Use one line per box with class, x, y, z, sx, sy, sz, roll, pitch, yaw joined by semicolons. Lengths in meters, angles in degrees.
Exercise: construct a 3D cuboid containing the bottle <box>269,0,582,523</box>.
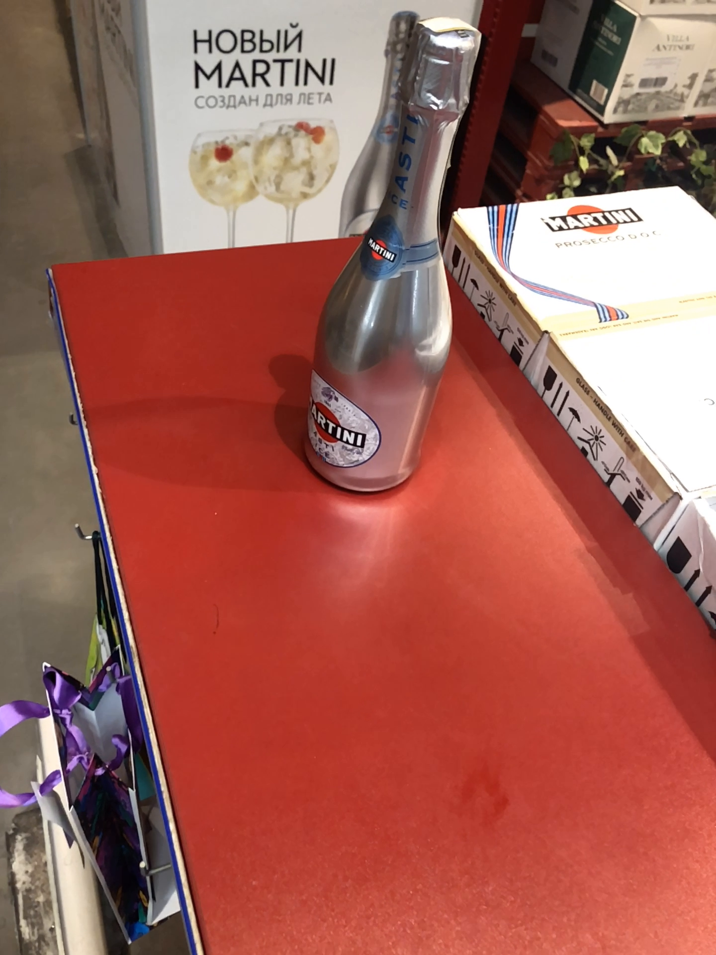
bottle;0.020;-0.120;0.486;0.100;0.298;0.100;4;48;-5
